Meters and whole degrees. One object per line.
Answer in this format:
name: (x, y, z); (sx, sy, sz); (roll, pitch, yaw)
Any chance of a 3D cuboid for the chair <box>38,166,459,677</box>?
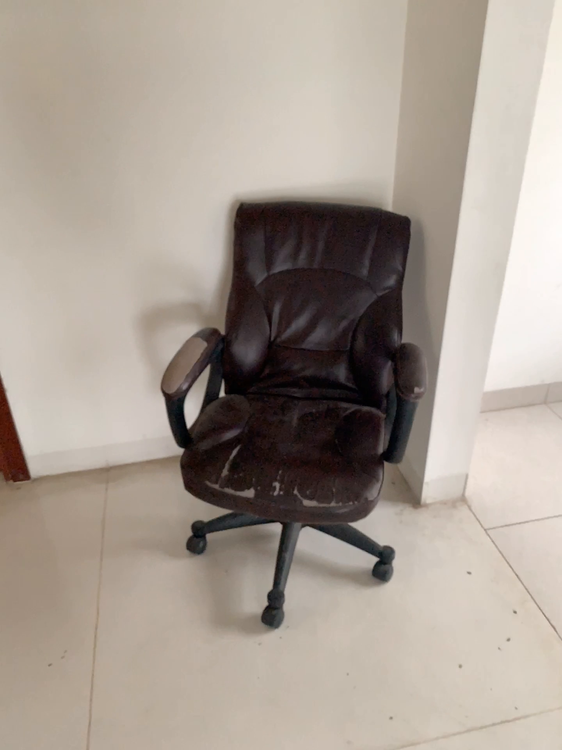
chair: (0.010, 0.057, 1.518); (0.700, 0.996, 0.793); (5, 31, 10)
